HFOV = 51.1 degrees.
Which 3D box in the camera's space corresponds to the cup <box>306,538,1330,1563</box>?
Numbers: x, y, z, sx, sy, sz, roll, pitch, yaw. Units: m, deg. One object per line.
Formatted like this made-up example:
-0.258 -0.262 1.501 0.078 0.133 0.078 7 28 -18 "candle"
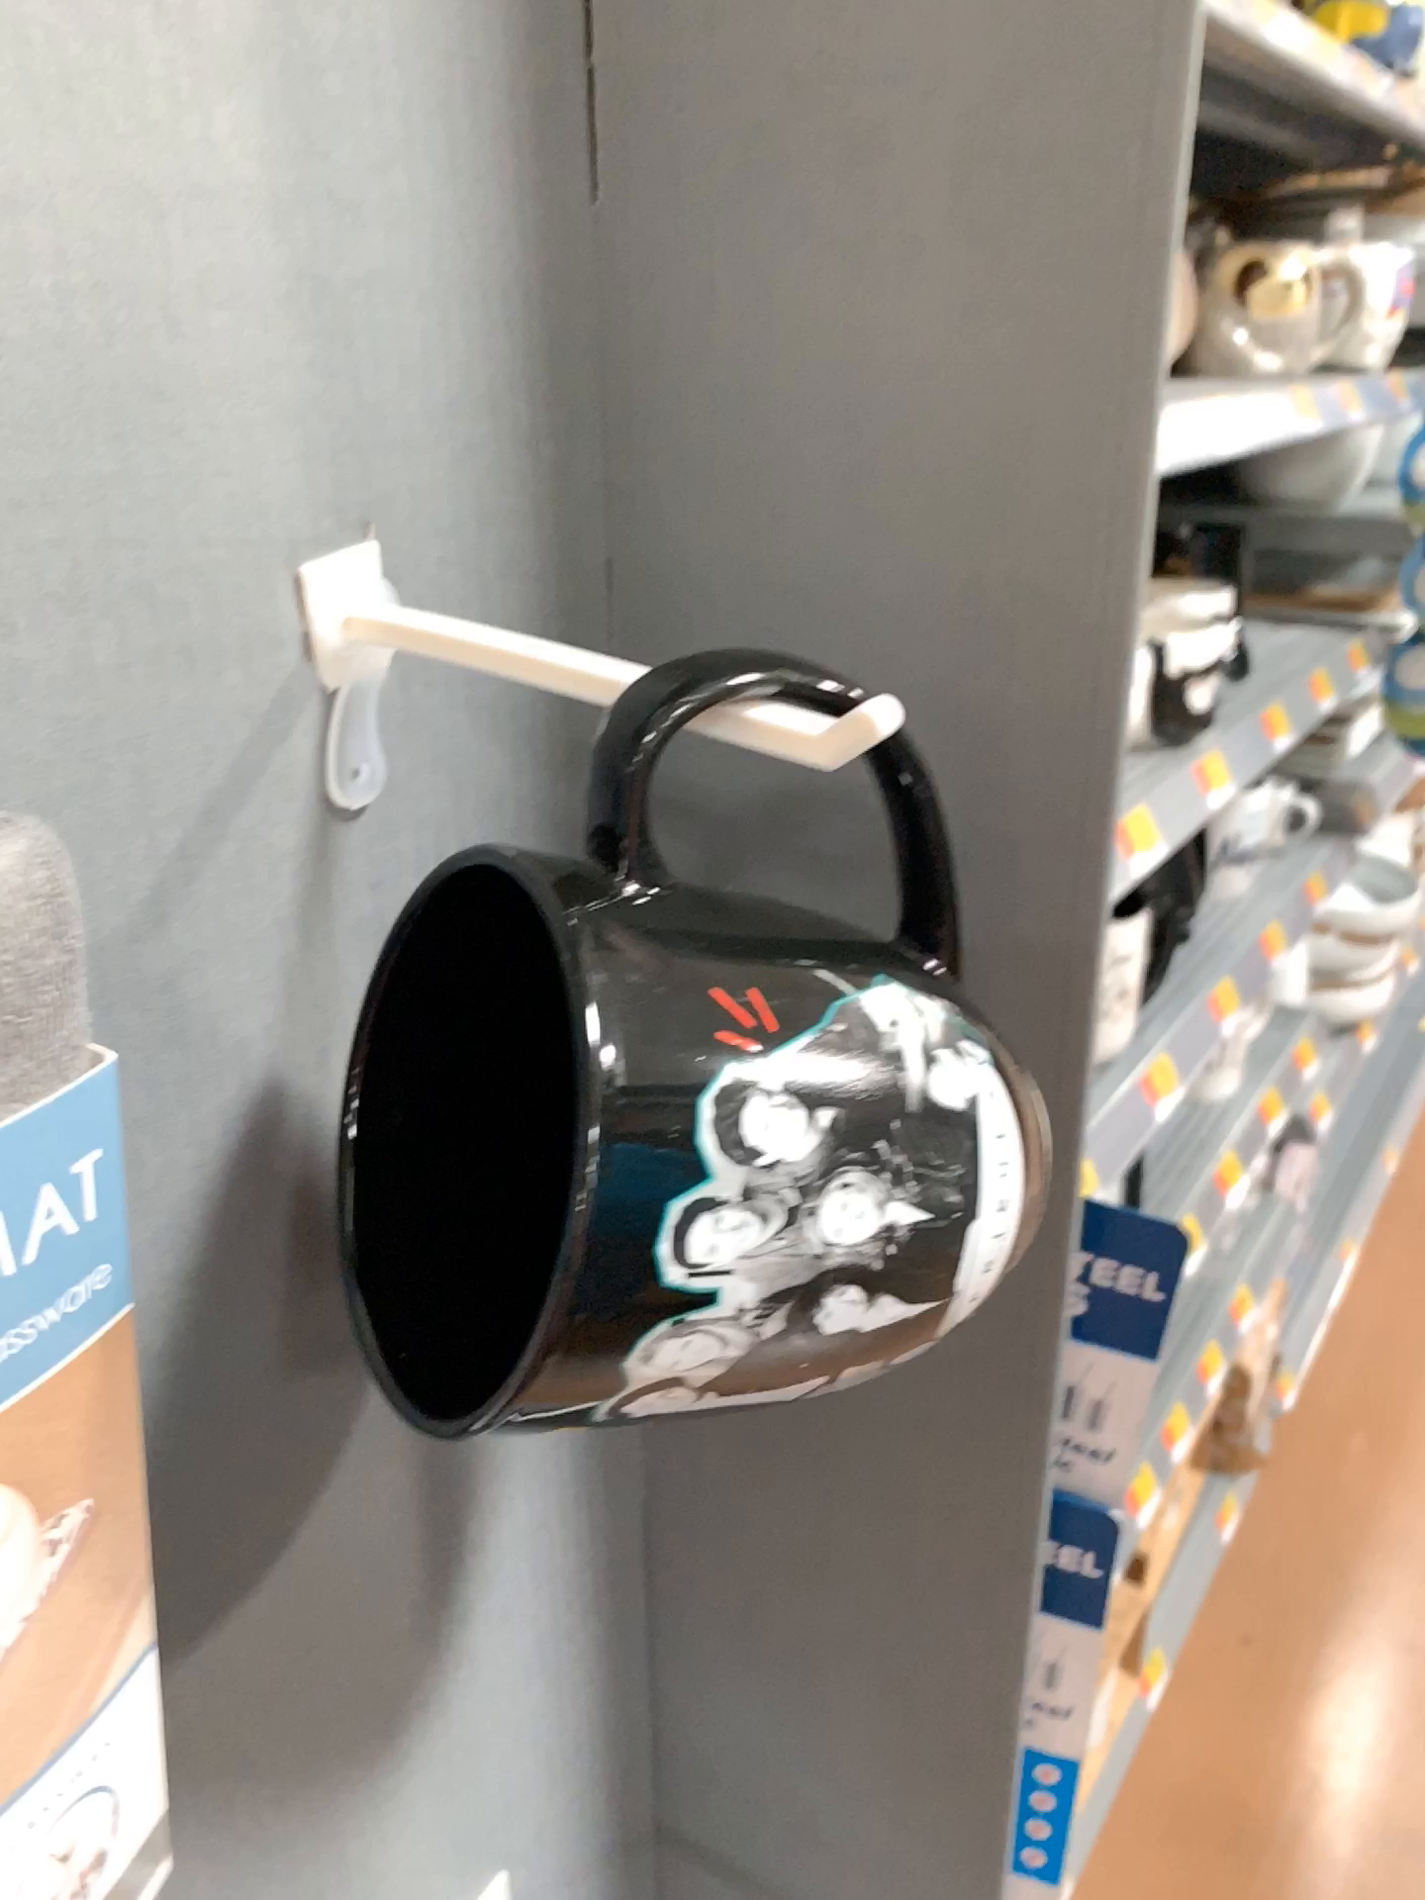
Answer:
0.012 0.013 0.253 0.115 0.128 0.087 7 15 -34 "cup"
